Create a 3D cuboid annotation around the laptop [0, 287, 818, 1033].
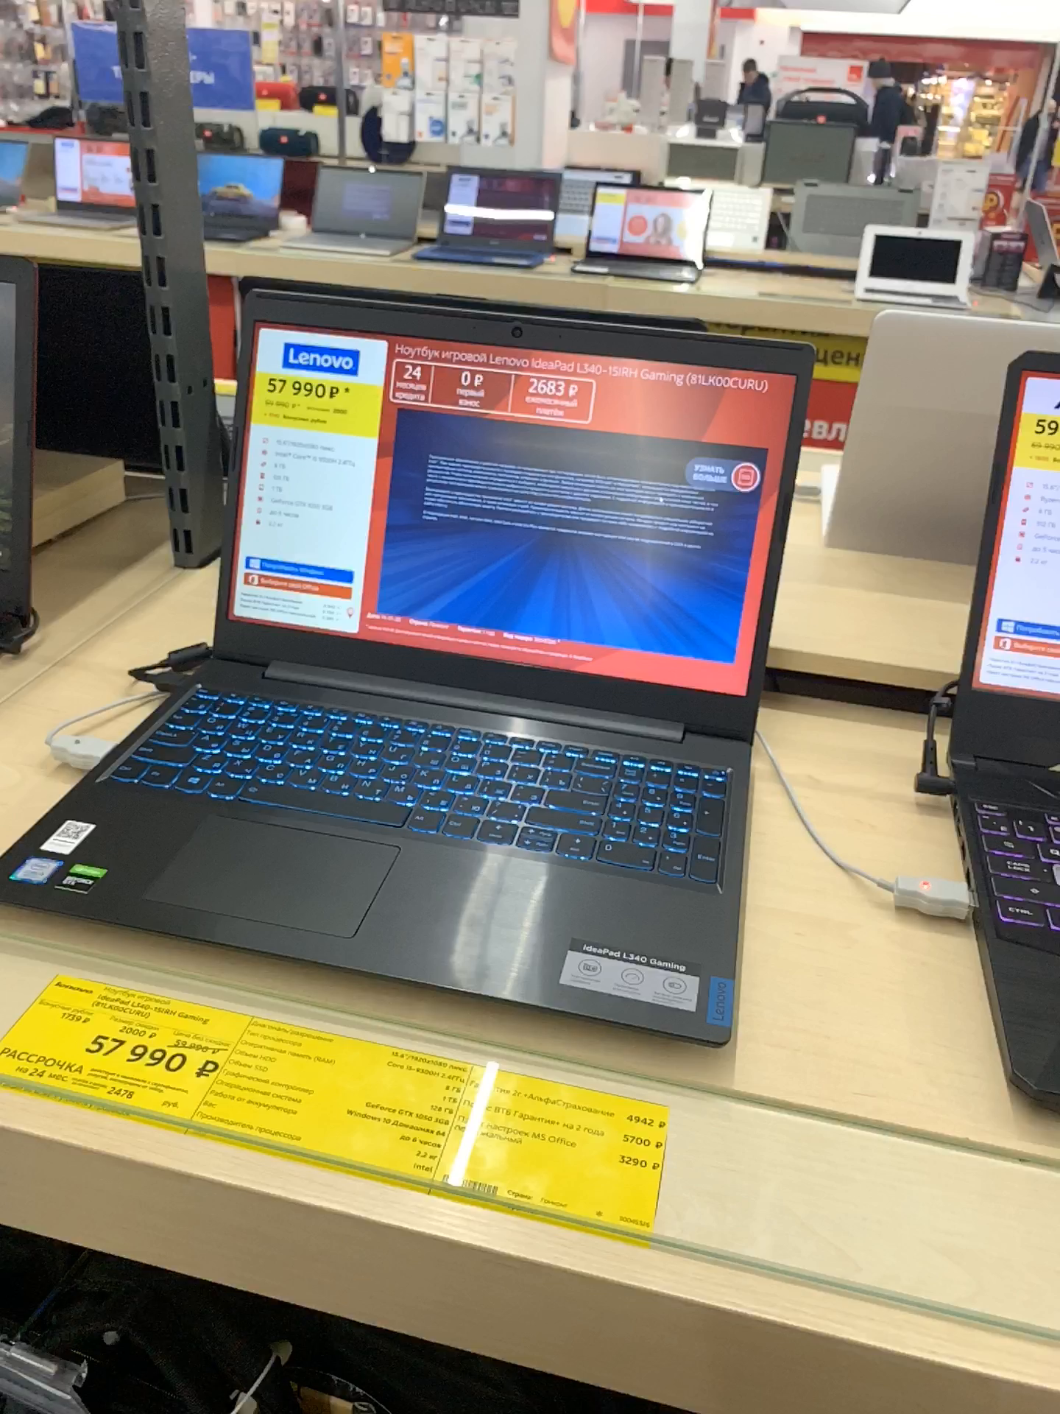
[{"bbox_3d":[-0.048,-0.068,0.594,0.357,0.223,0.349,9,30,9],"label":"laptop"}]
